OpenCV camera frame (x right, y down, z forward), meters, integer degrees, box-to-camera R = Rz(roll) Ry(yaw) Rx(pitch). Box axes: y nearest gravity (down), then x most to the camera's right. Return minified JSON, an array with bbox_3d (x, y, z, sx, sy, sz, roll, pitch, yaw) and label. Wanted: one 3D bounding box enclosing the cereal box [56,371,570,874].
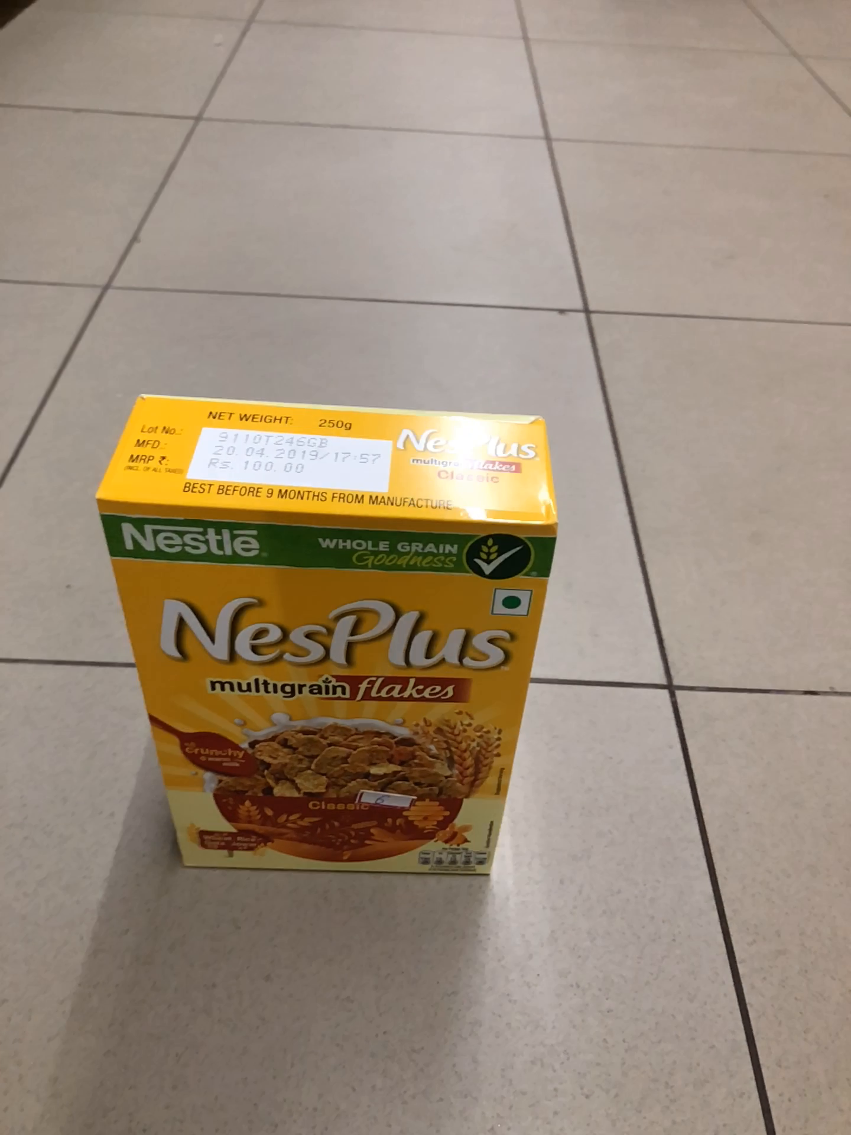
[{"bbox_3d":[-0.035,0.033,0.348,0.140,0.199,0.060,2,43,-2],"label":"cereal box"}]
